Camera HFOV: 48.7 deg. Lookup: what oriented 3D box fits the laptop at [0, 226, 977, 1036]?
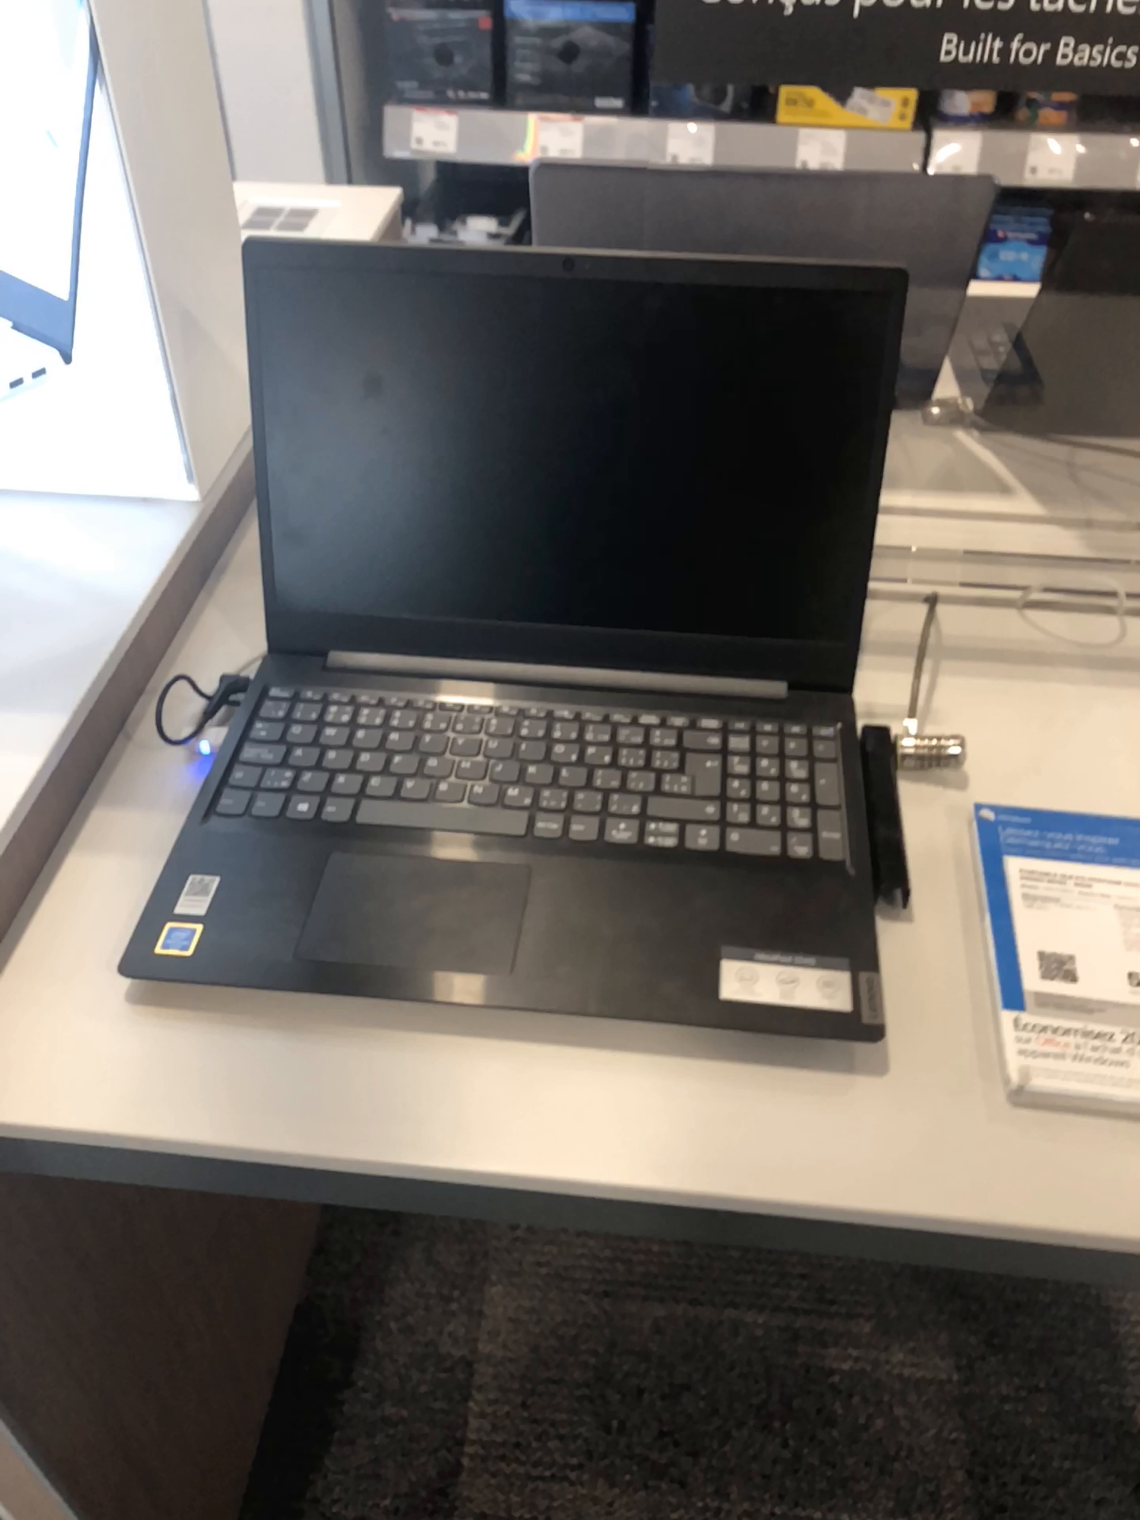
[{"bbox_3d":[-0.018,-0.083,0.624,0.345,0.213,0.324,4,44,5],"label":"laptop"}]
